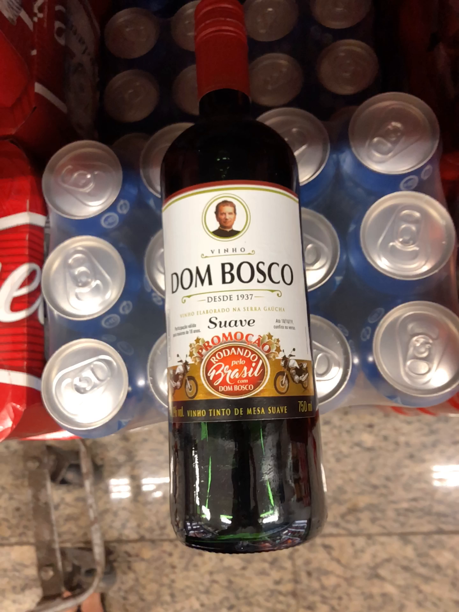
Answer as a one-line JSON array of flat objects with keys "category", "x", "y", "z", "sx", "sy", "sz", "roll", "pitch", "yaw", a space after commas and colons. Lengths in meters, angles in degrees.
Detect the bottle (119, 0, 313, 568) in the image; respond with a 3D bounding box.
[{"category": "bottle", "x": -0.007, "y": -0.031, "z": 0.277, "sx": 0.080, "sy": 0.070, "sz": 0.300, "roll": -4, "pitch": 81, "yaw": 7}]
